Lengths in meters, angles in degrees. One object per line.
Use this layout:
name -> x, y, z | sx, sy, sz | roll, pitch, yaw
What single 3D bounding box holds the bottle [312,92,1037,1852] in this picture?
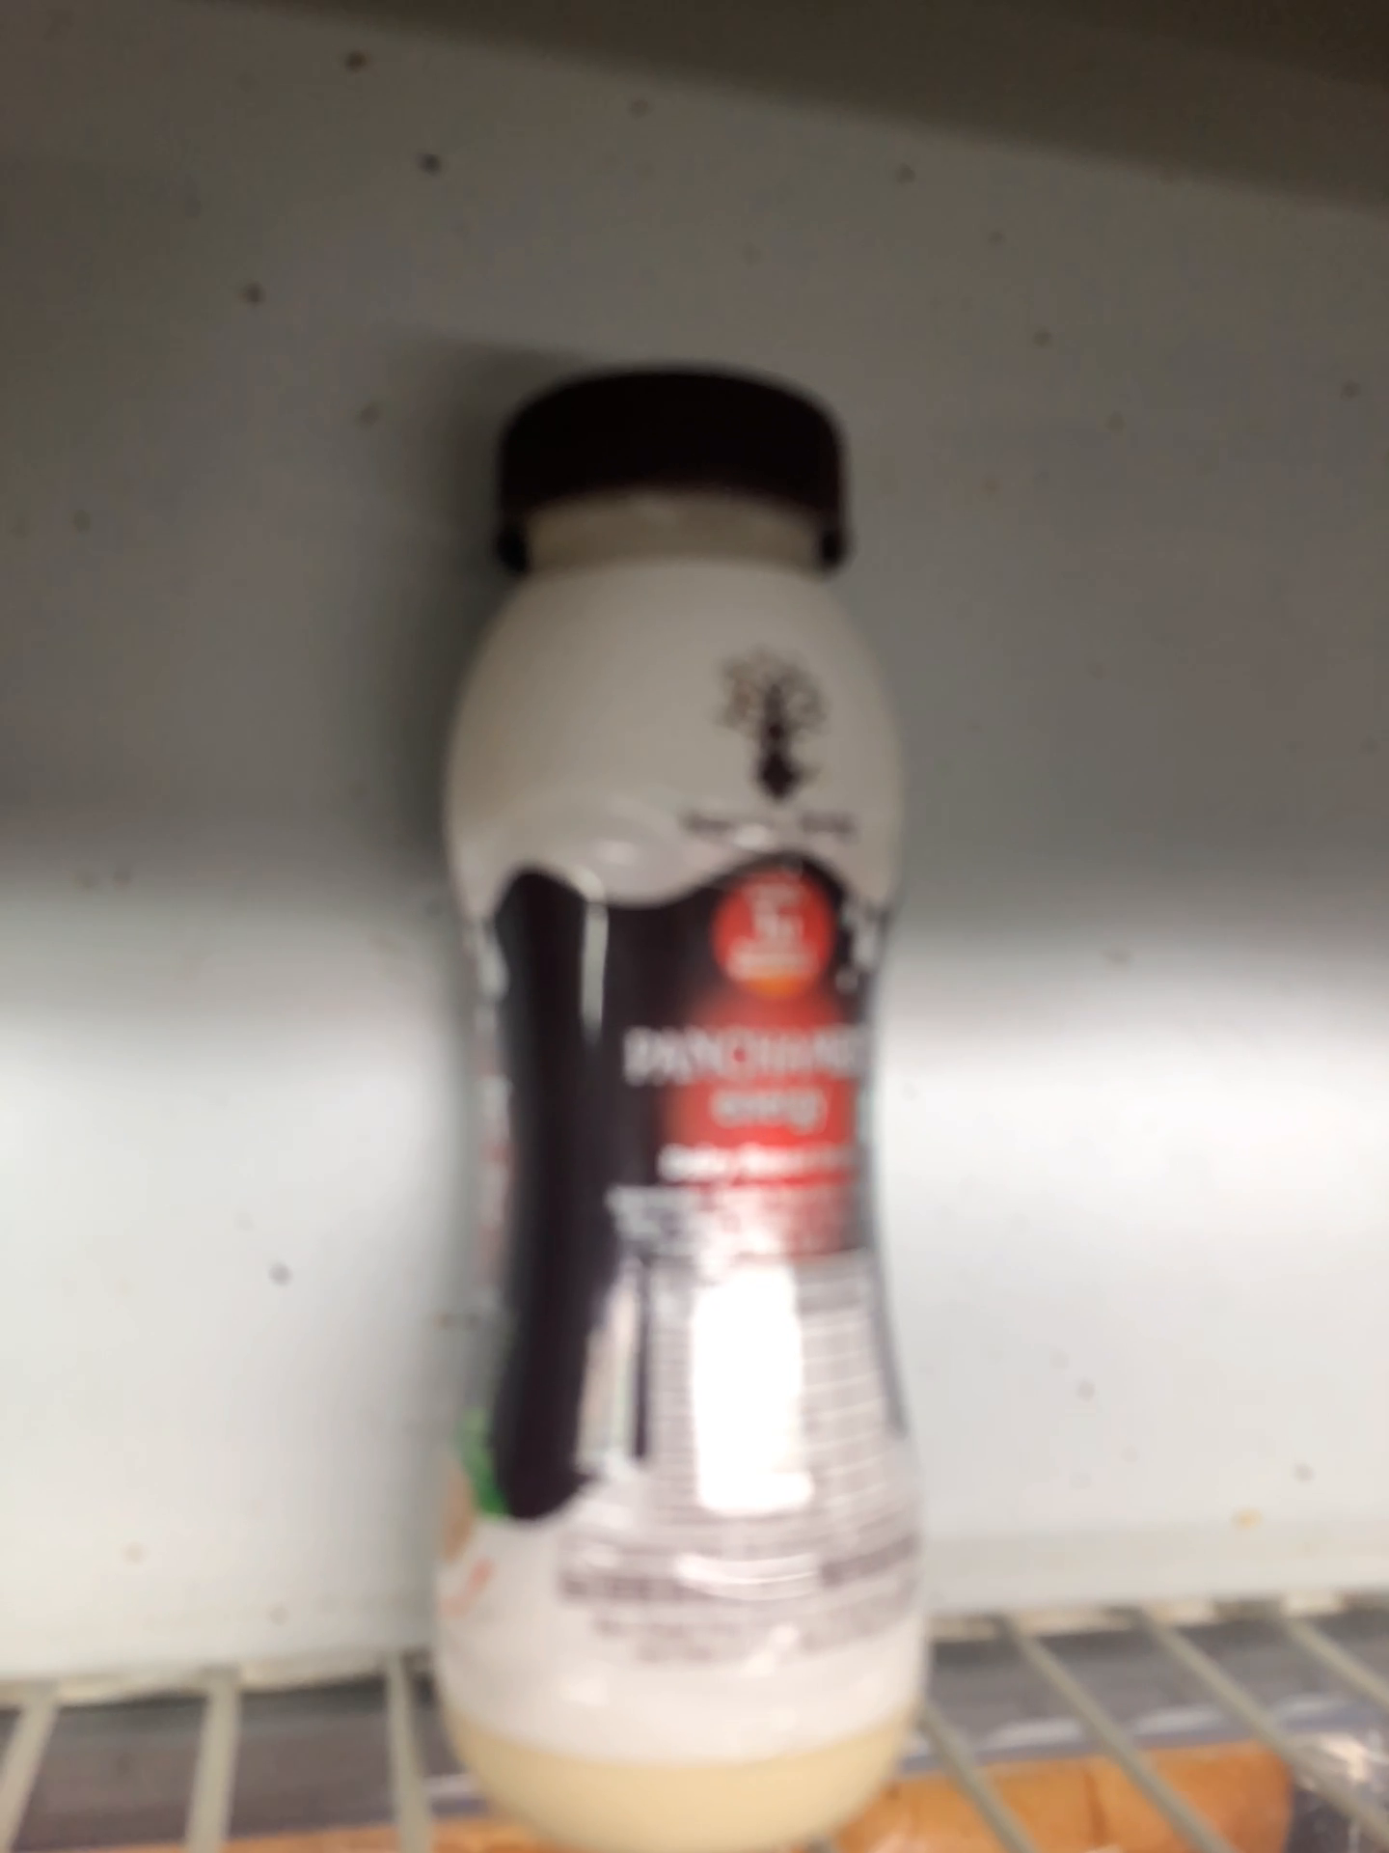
bottle -> -0.006, 0.008, 0.168 | 0.060, 0.060, 0.160 | 2, 85, -23
